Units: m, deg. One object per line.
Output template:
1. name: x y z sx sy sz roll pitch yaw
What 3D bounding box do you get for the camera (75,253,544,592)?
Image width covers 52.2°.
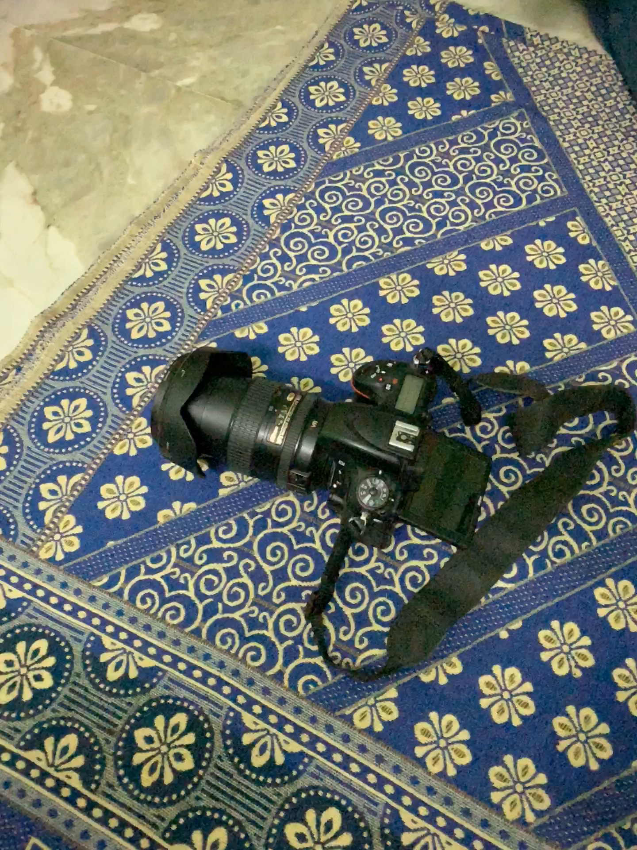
1. camera: -0.004 -0.007 0.542 0.320 0.110 0.160 18 64 12
